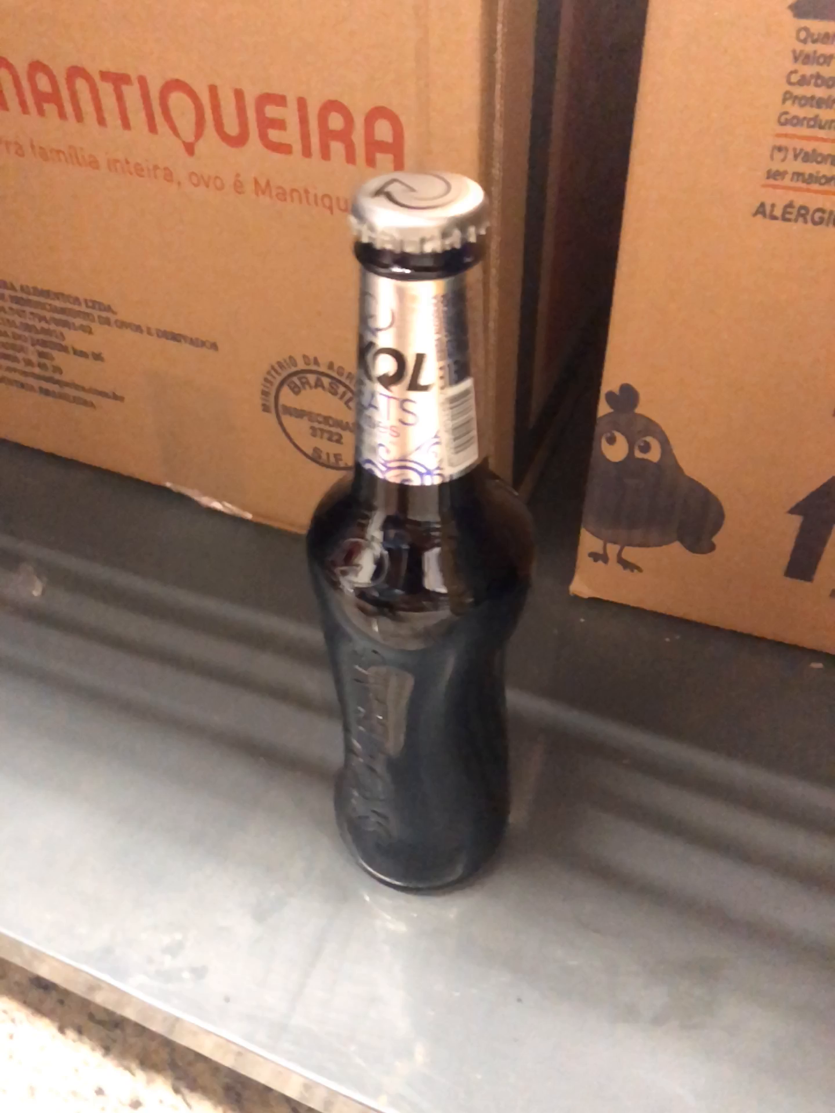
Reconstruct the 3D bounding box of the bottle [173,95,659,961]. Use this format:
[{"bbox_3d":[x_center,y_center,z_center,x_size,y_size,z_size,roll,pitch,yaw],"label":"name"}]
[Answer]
[{"bbox_3d":[0.007,0.013,0.259,0.070,0.238,0.070,-2,42,2],"label":"bottle"}]
